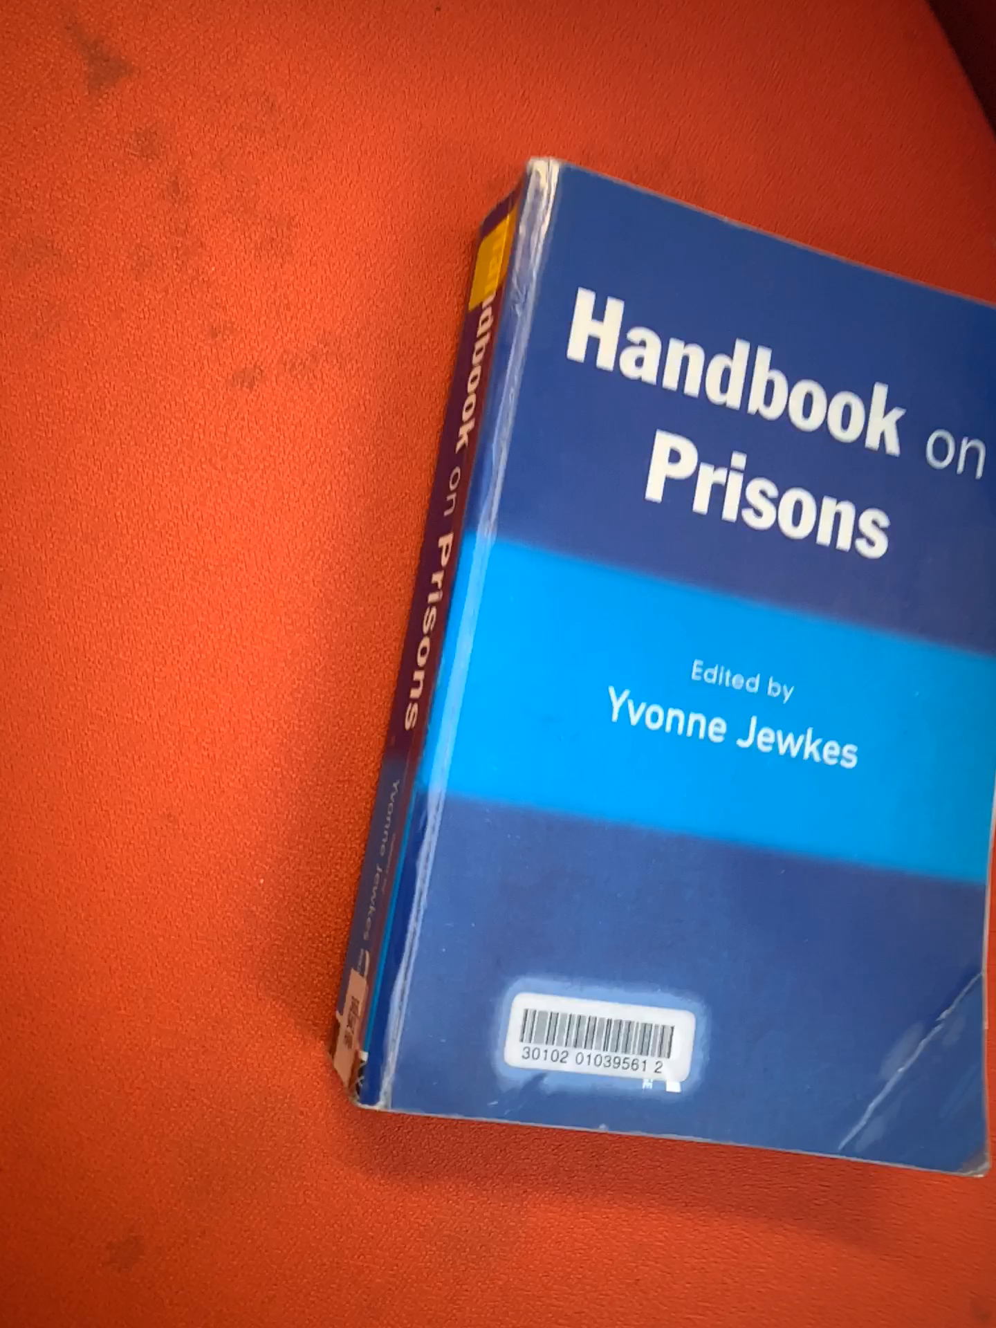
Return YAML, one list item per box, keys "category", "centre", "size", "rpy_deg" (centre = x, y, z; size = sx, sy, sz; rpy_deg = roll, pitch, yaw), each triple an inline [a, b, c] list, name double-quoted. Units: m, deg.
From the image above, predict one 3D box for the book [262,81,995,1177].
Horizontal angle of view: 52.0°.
- category: "book"
  centre: [0.057, -0.004, 0.311]
  size: [0.200, 0.060, 0.270]
  rpy_deg: [12, 81, -15]
